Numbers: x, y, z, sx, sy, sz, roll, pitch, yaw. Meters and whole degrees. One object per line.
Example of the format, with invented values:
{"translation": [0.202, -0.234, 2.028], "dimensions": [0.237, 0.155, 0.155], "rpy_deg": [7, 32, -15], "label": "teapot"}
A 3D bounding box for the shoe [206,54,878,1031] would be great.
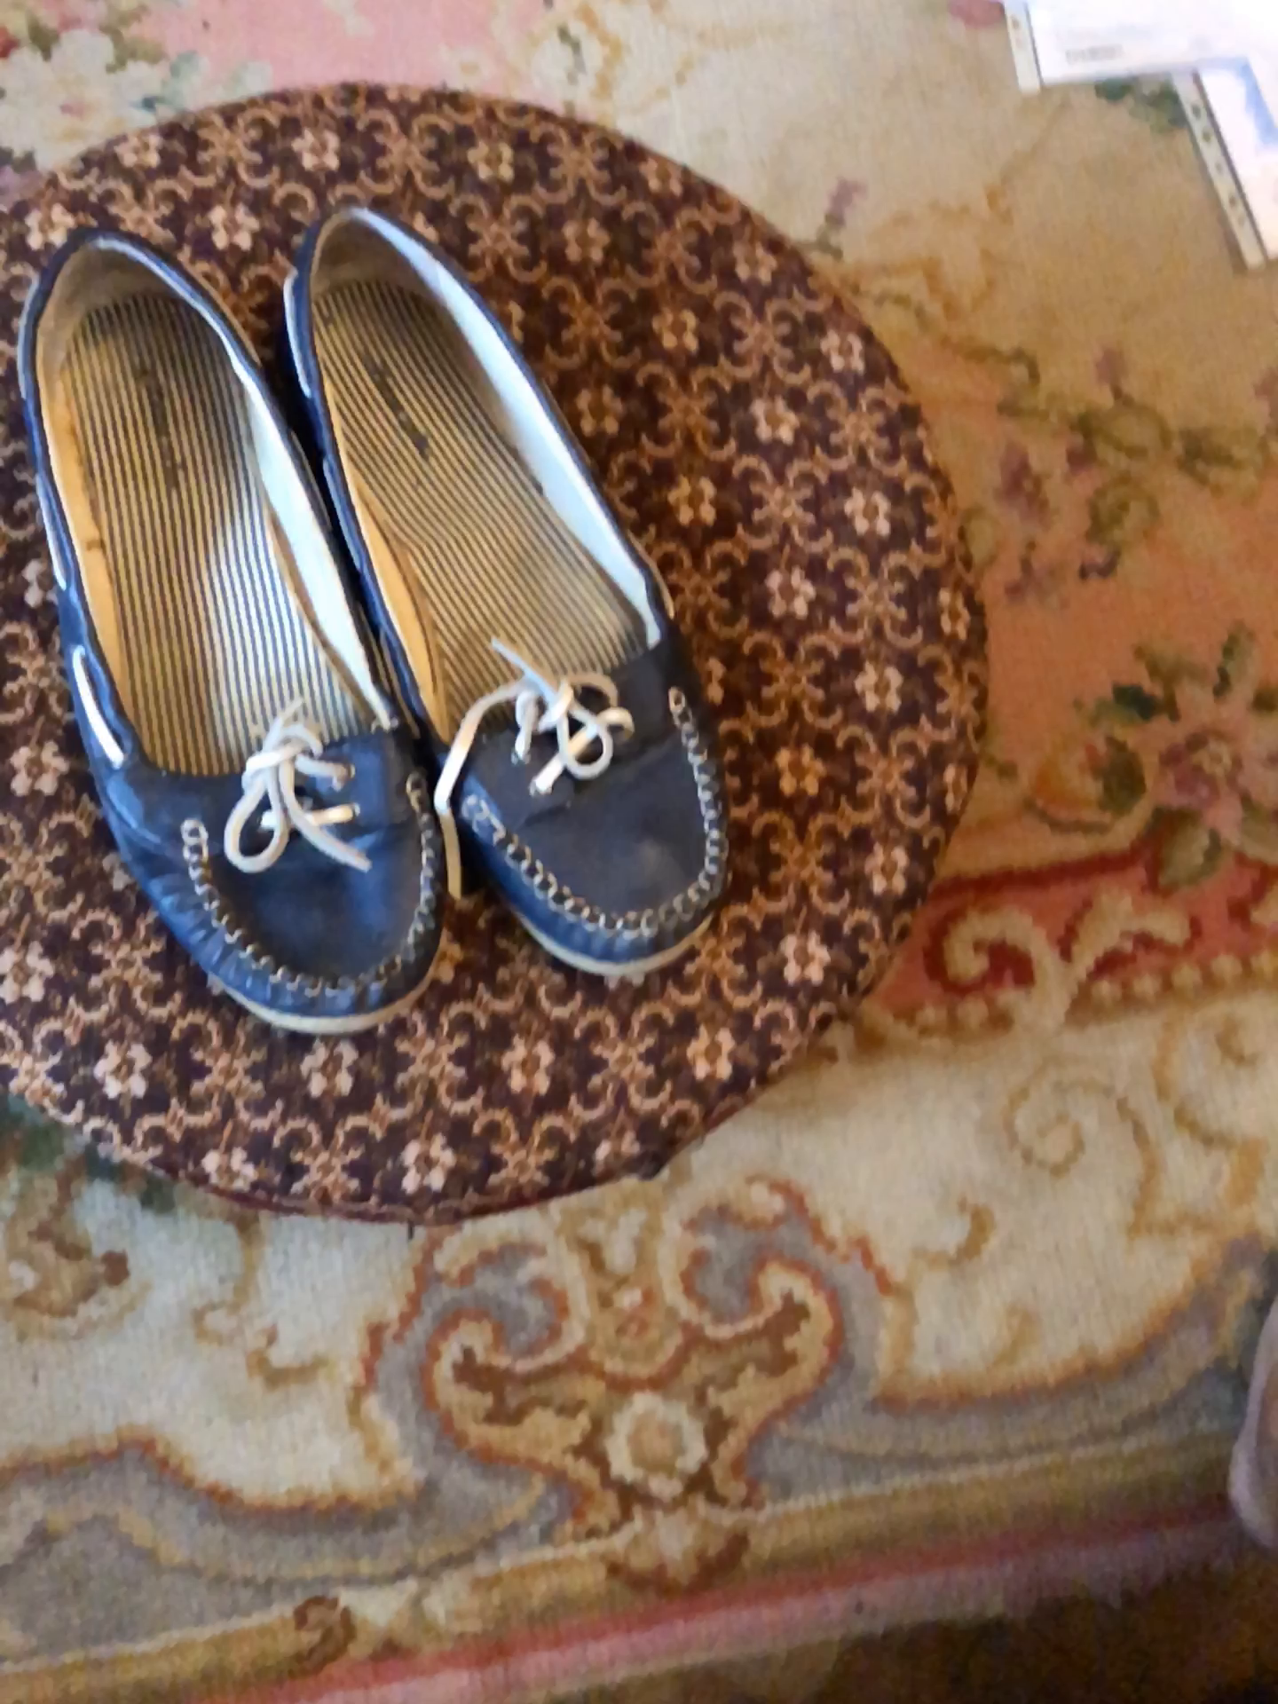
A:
{"translation": [-0.033, -0.083, 0.413], "dimensions": [0.090, 0.090, 0.250], "rpy_deg": [-21, 84, -11], "label": "shoe"}

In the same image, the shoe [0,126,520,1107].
{"translation": [-0.121, -0.062, 0.413], "dimensions": [0.090, 0.100, 0.250], "rpy_deg": [-19, 78, -4], "label": "shoe"}
